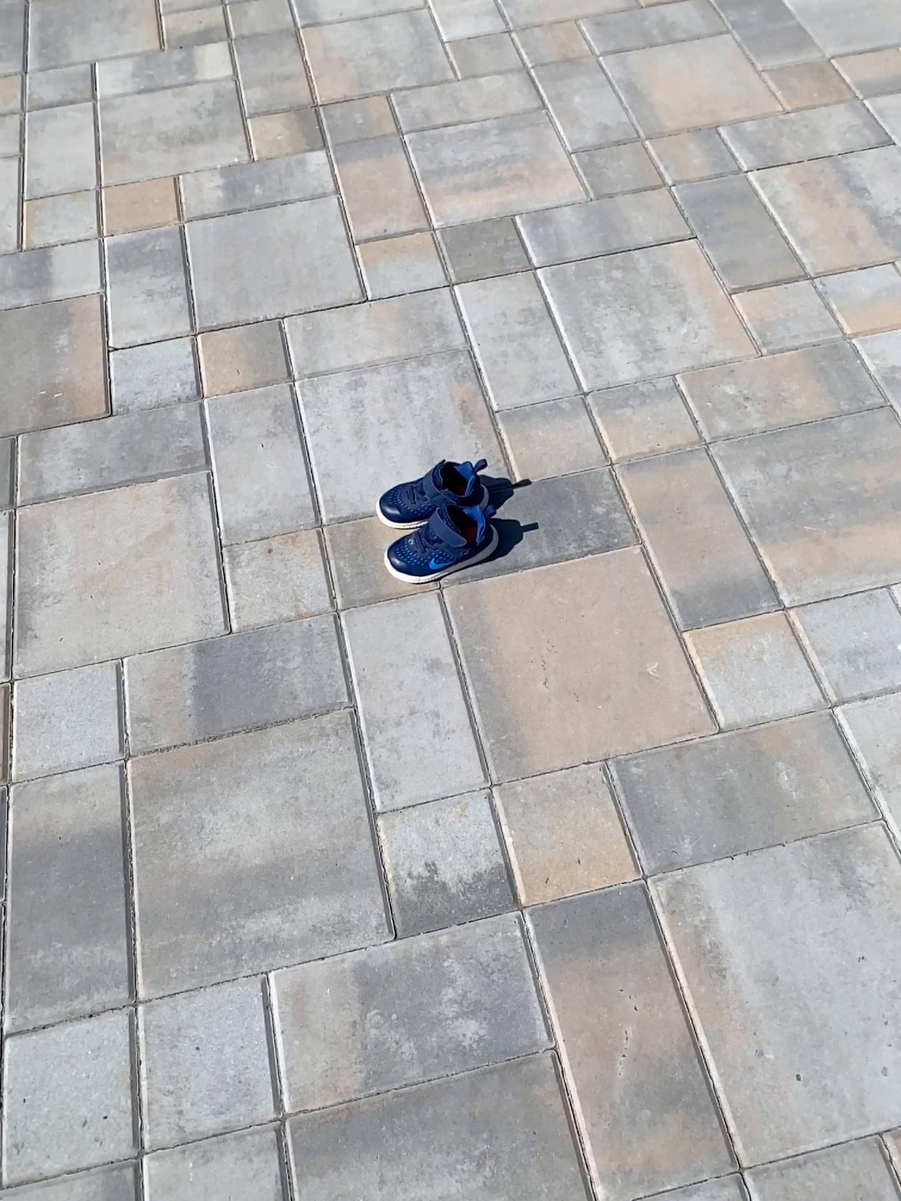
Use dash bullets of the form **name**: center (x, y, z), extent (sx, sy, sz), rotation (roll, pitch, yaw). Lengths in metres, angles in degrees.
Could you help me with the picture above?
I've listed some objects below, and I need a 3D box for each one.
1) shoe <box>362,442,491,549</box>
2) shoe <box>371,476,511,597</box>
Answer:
- **shoe**: center (-0.034, -0.154, 1.352), extent (0.170, 0.090, 0.090), rotation (-11, 59, -4)
- **shoe**: center (-0.012, -0.089, 1.285), extent (0.170, 0.090, 0.090), rotation (-17, 60, -7)
